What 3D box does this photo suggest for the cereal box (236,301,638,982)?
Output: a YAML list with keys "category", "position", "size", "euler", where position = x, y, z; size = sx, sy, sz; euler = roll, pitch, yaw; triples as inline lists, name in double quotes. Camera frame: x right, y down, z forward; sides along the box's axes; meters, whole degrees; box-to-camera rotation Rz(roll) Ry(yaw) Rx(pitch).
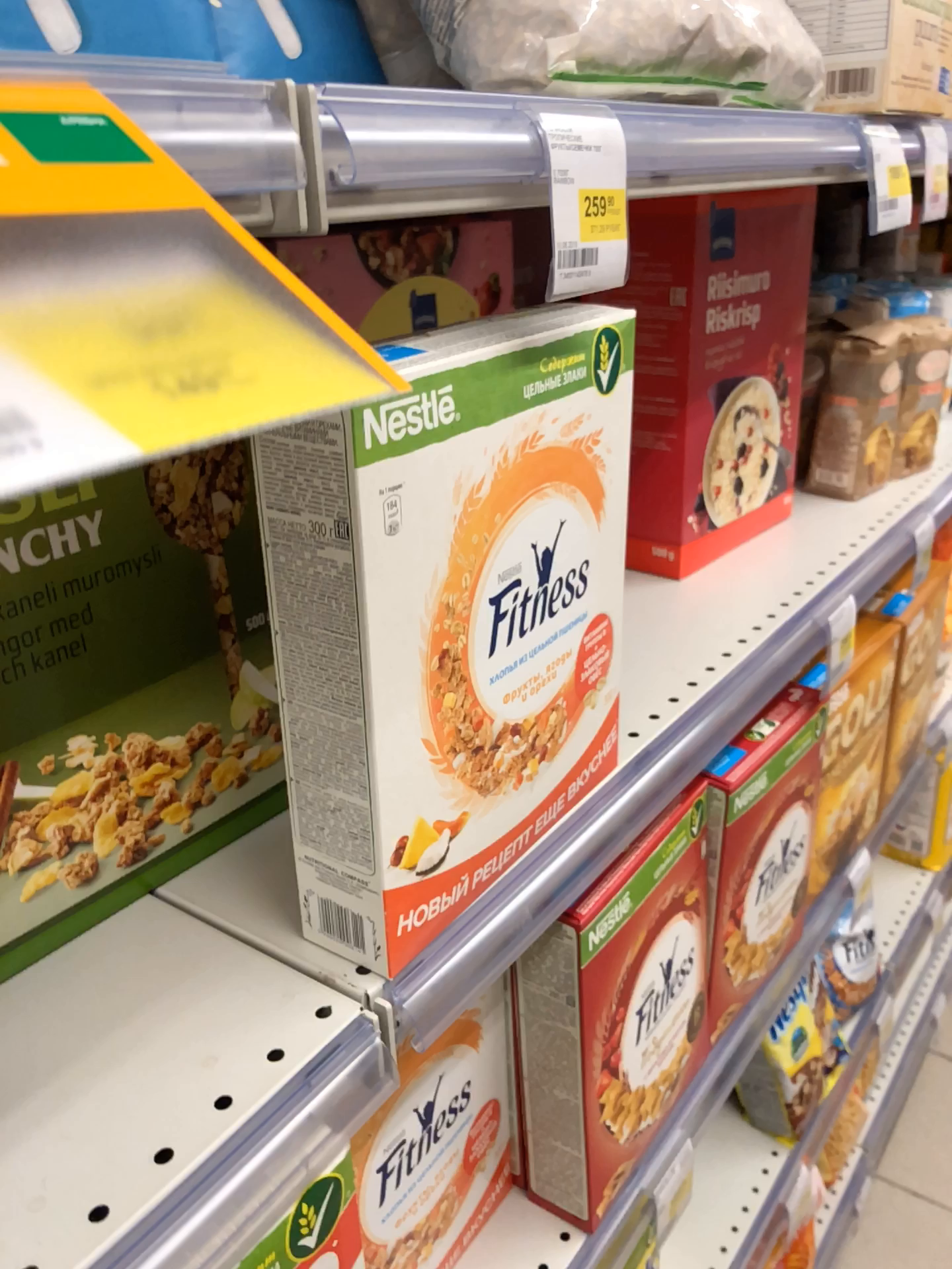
- category: "cereal box"
  position: [-0.002, -0.010, 0.446]
  size: [0.050, 0.229, 0.191]
  euler: [14, 28, 31]
